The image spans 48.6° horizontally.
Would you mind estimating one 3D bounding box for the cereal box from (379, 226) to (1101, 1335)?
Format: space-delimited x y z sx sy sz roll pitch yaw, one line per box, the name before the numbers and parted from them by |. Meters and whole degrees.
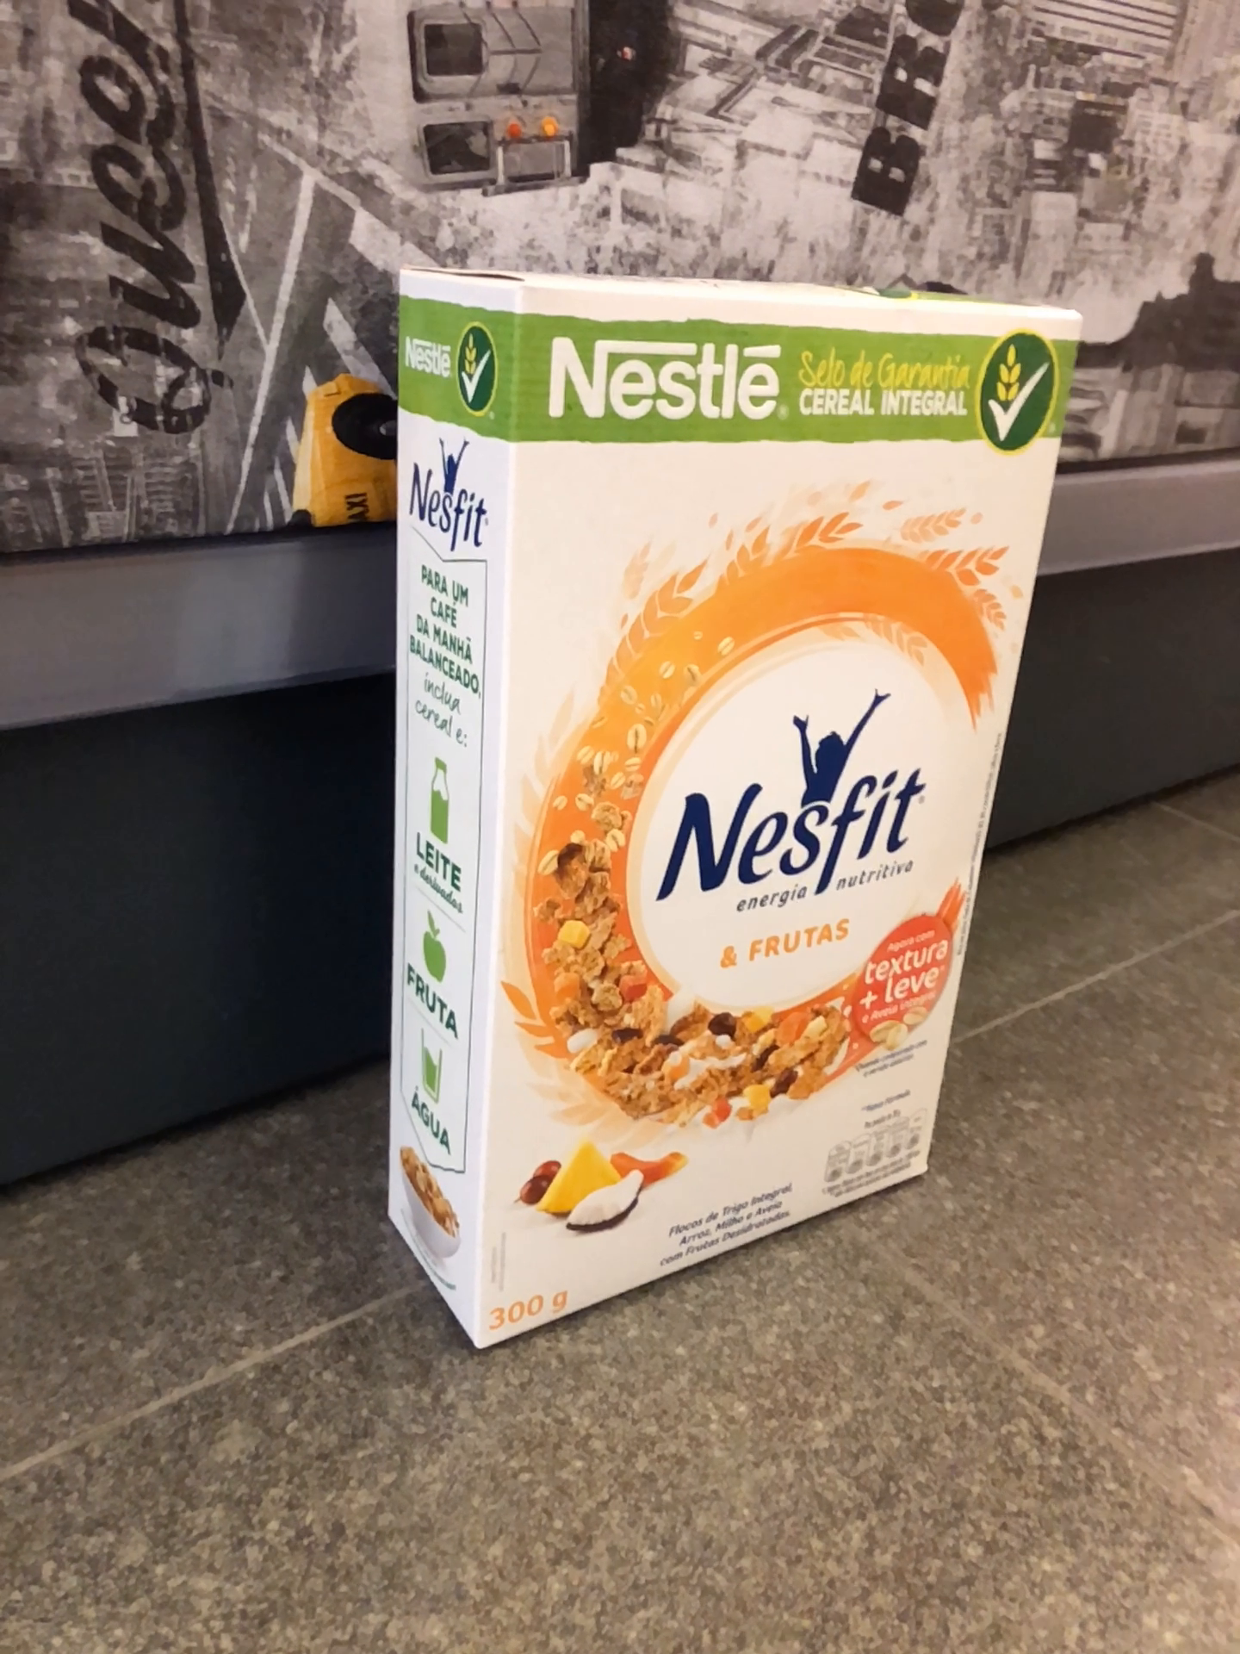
cereal box | 0.022 -0.014 0.356 0.150 0.248 0.070 -11 28 -32
